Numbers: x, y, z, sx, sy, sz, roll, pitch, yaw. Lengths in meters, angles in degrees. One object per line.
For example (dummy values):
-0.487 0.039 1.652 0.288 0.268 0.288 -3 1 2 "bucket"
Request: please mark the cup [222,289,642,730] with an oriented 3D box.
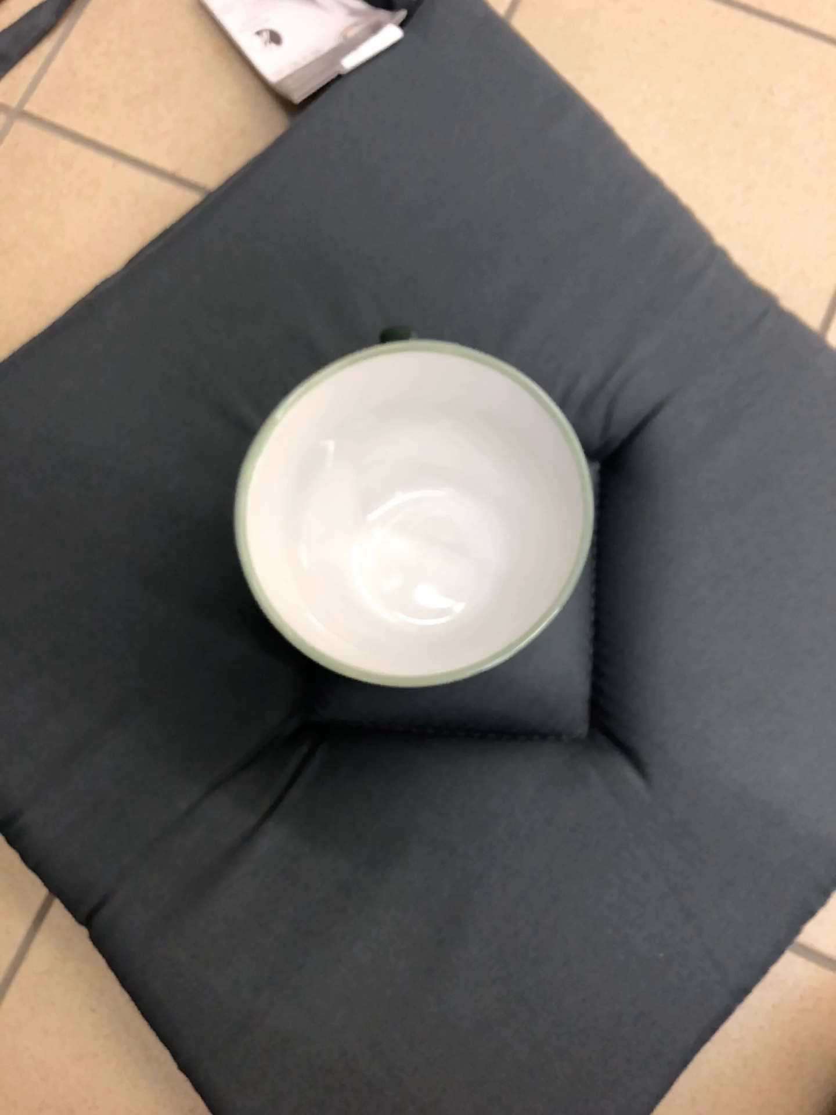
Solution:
0.002 -0.013 0.323 0.120 0.060 0.130 0 78 2 "cup"
